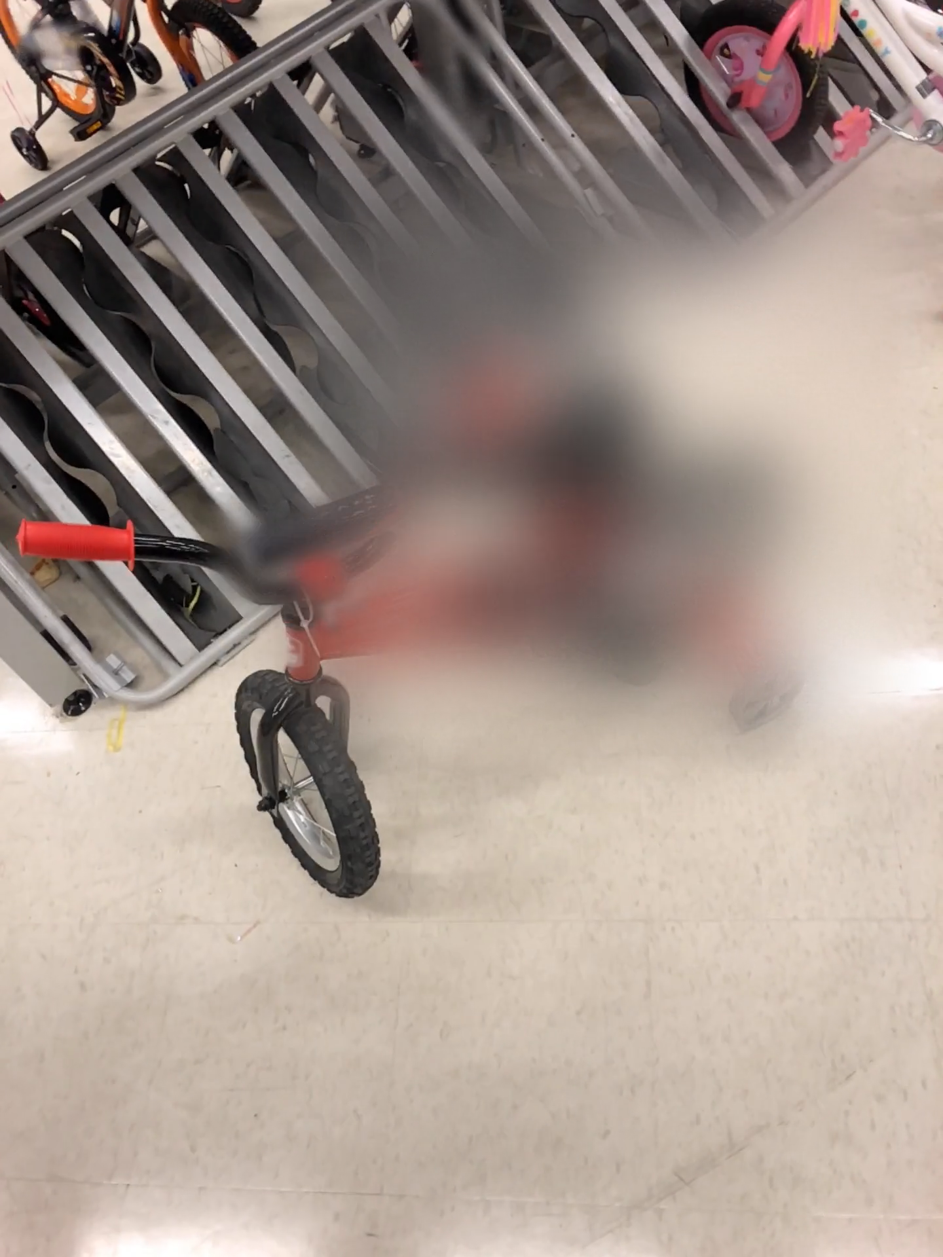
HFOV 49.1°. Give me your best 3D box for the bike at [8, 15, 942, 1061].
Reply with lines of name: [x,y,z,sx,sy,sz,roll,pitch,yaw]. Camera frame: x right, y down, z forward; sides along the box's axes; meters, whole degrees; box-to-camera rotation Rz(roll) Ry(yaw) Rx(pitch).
bike: [0.085,-0.086,1.110,0.698,0.678,0.534,-39,55,-15]
